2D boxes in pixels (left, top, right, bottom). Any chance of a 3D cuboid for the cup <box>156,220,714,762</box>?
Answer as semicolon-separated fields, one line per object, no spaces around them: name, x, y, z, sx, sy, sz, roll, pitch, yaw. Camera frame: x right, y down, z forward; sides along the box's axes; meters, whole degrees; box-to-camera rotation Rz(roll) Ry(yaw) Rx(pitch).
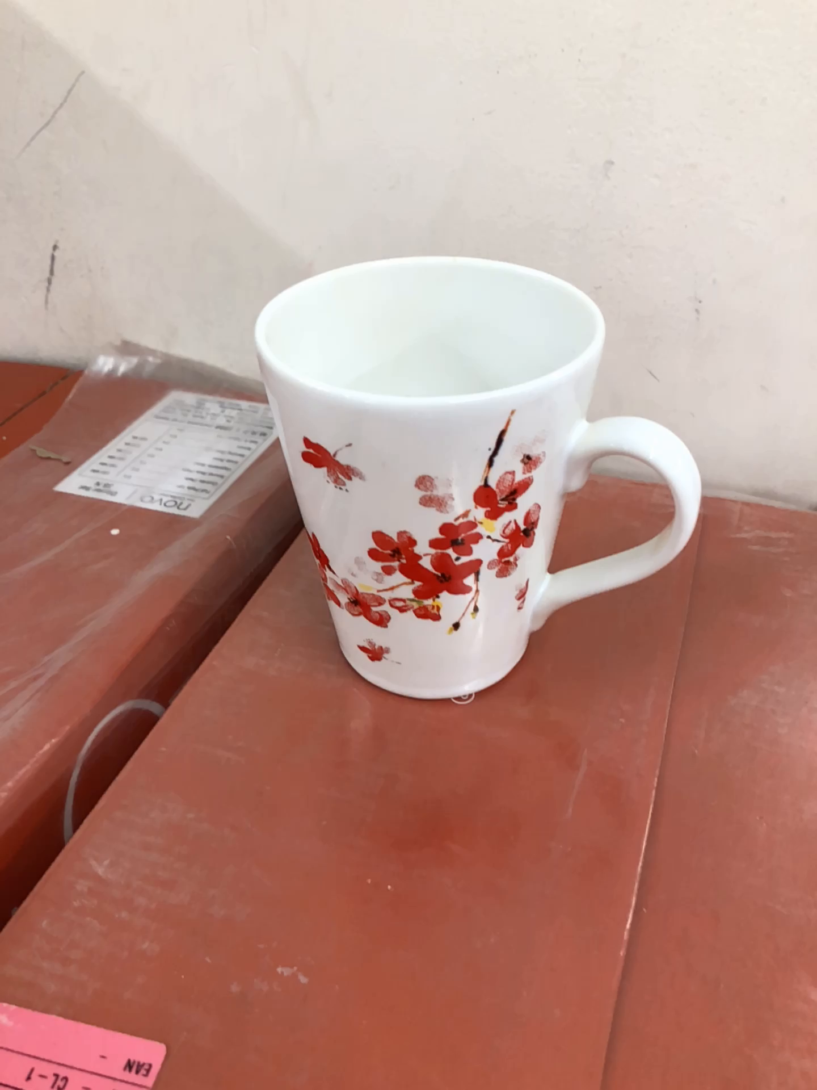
cup;0.013;-0.018;0.235;0.110;0.099;0.081;8;38;13
